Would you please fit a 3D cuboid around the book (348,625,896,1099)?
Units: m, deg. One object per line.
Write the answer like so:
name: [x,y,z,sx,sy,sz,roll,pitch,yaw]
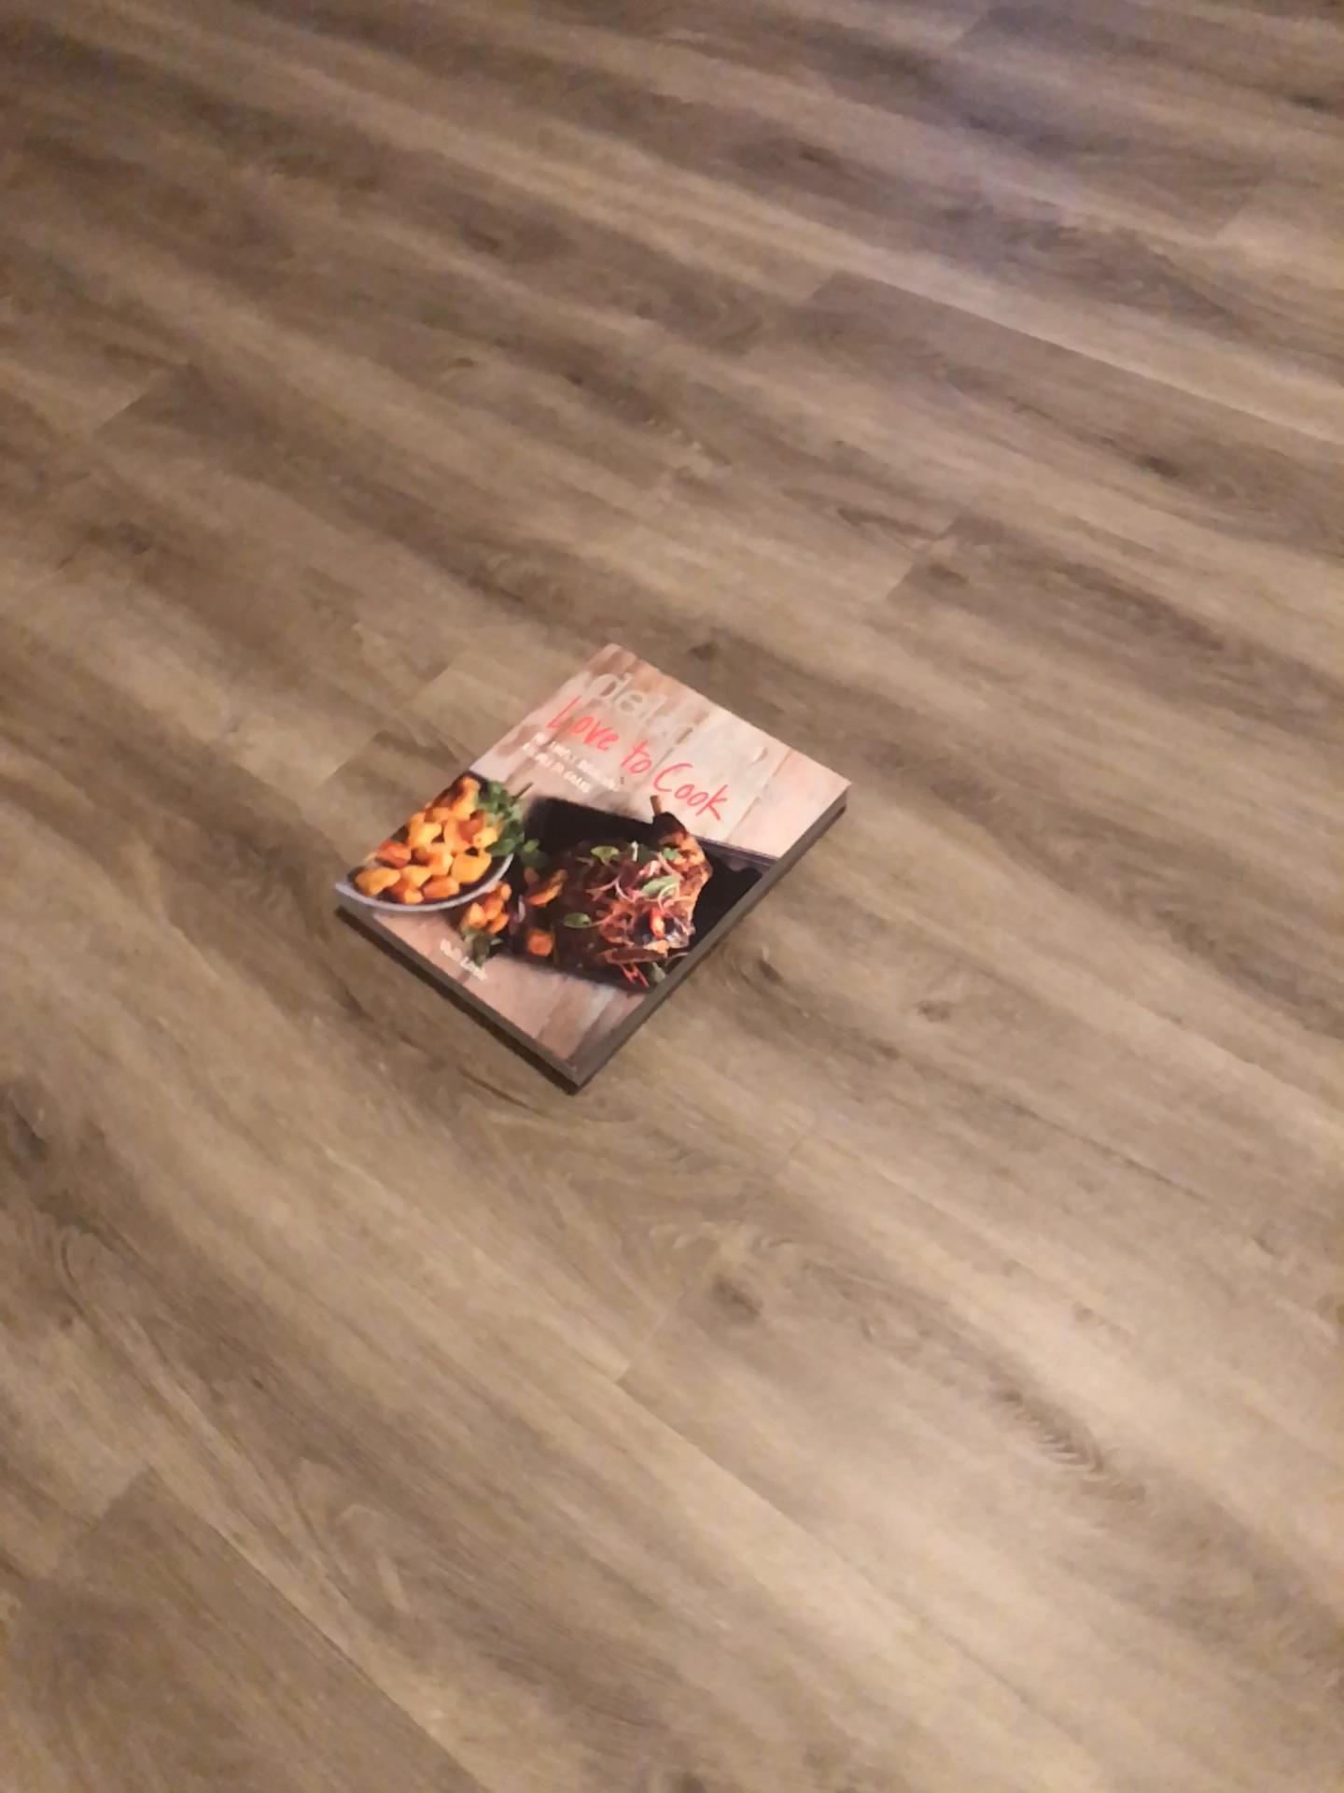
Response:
book: [-0.030,-0.038,0.978,0.222,0.030,0.290,34,65,26]
